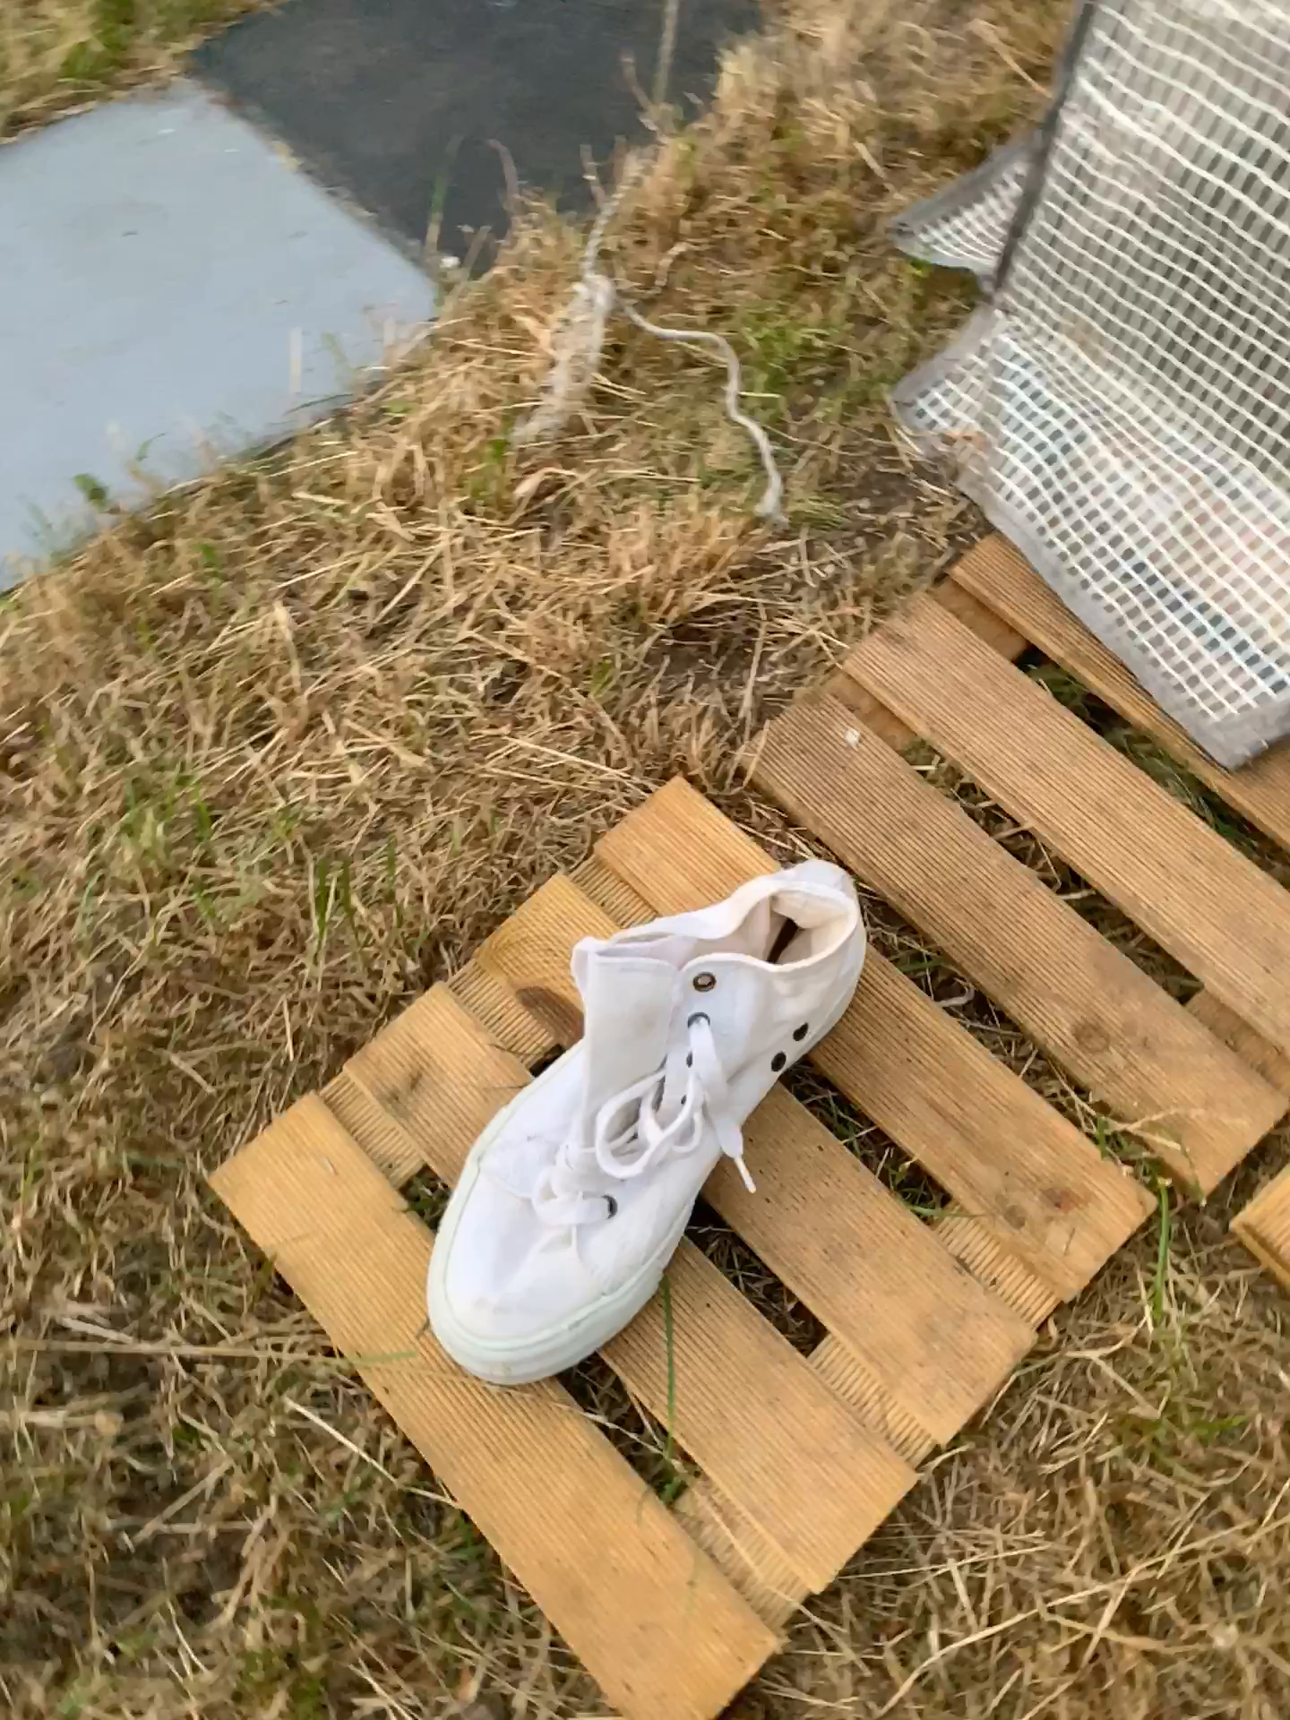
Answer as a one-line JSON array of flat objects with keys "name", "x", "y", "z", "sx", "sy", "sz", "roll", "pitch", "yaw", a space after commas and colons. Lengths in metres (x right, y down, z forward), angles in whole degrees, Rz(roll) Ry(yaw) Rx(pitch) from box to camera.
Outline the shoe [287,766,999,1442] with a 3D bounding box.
[{"name": "shoe", "x": 0.005, "y": 0.099, "z": 0.540, "sx": 0.261, "sy": 0.129, "sz": 0.100, "roll": -37, "pitch": 68, "yaw": -19}]
